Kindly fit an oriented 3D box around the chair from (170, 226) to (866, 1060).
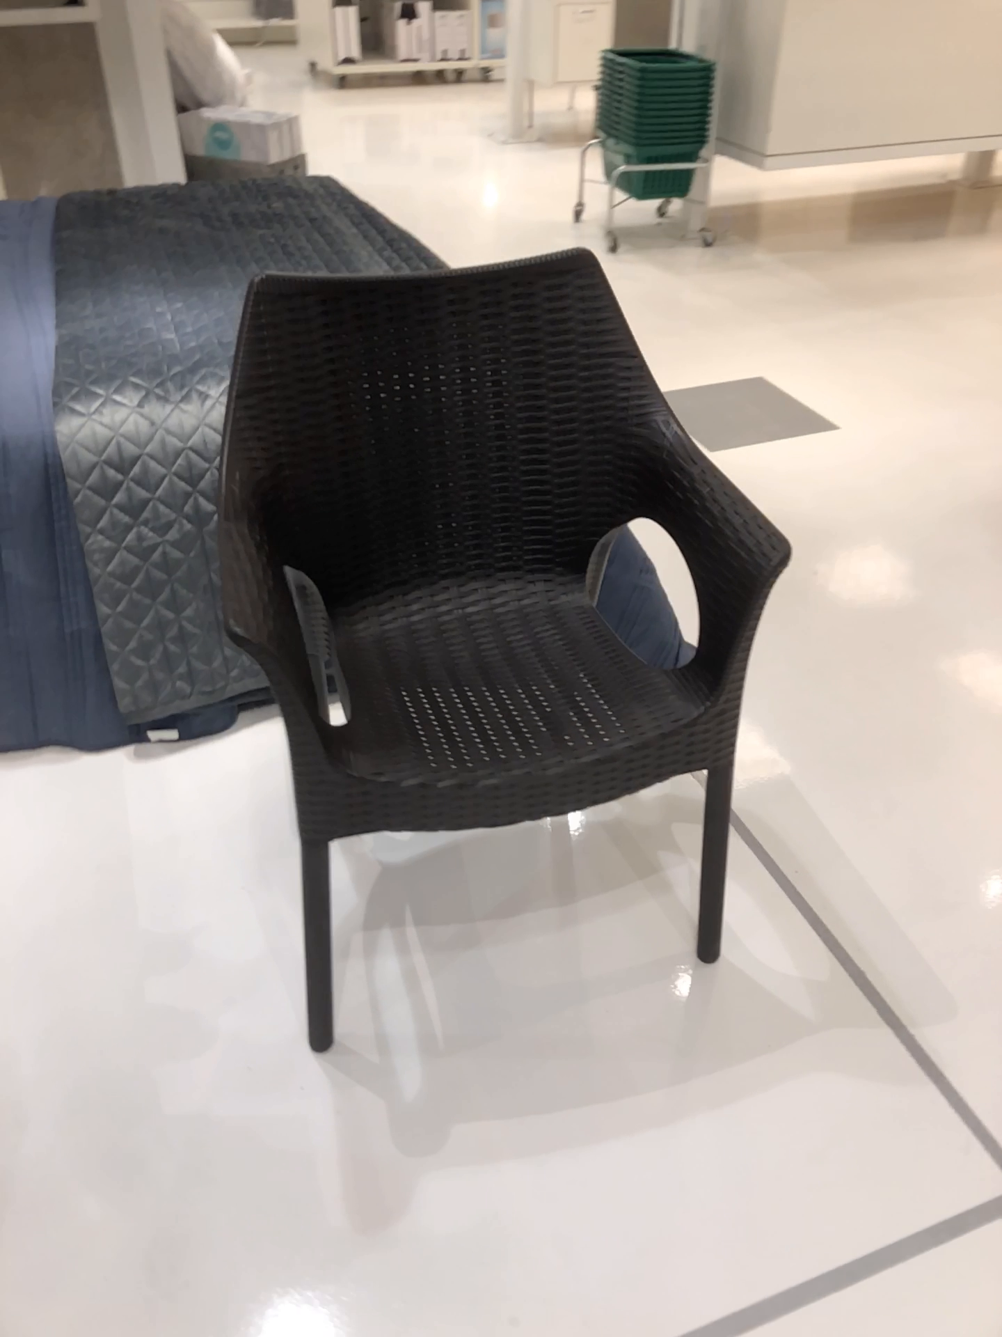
[{"bbox_3d":[-0.033,-0.058,1.362,0.590,0.764,0.574,-9,36,-12],"label":"chair"}]
